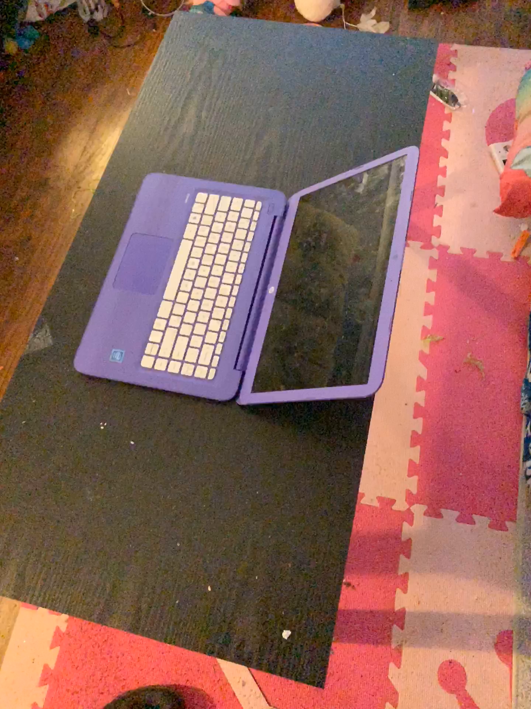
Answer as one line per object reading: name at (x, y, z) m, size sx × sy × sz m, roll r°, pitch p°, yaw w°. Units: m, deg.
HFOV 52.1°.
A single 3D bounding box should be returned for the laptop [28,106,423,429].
laptop at (-0.031, -0.122, 0.705) m, size 0.397 × 0.132 × 0.340 m, roll 11°, pitch 68°, yaw 9°
